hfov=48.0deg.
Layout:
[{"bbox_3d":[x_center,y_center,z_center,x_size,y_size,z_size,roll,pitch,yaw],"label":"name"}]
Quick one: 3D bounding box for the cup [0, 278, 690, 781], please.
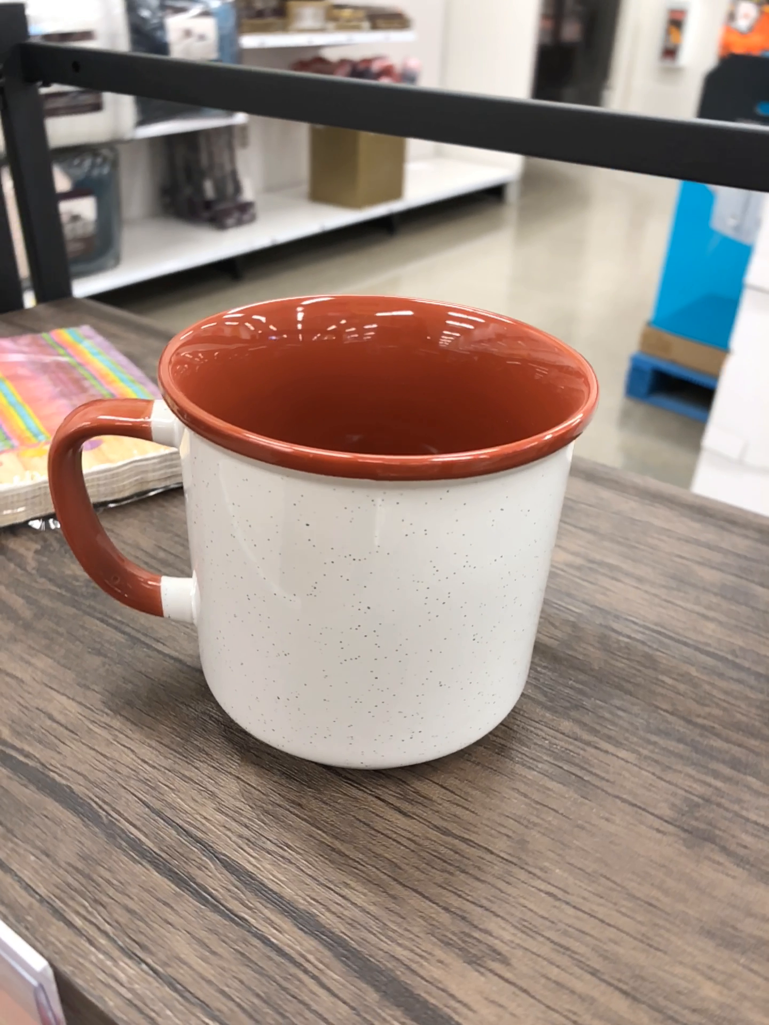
[{"bbox_3d":[-0.018,-0.001,0.237,0.150,0.090,0.110,1,32,-2],"label":"cup"}]
